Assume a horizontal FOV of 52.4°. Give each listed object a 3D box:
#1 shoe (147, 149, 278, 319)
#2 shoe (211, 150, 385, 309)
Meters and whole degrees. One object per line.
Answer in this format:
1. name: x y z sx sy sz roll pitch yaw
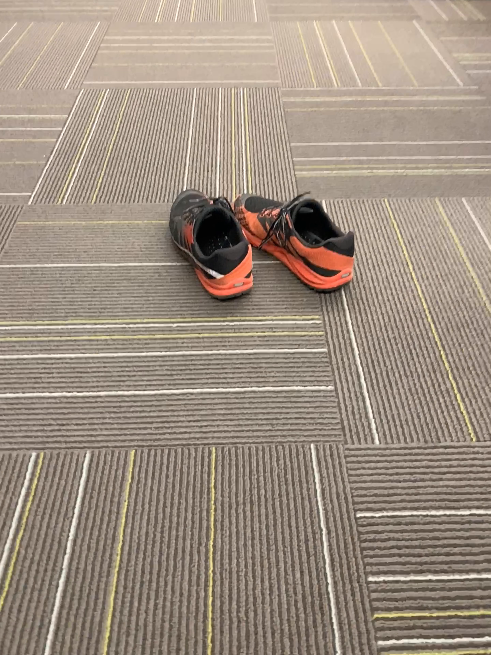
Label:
1. shoe: -0.069 -0.186 0.929 0.130 0.129 0.322 -17 50 -15
2. shoe: 0.086 -0.194 0.942 0.130 0.129 0.311 -33 55 -26
